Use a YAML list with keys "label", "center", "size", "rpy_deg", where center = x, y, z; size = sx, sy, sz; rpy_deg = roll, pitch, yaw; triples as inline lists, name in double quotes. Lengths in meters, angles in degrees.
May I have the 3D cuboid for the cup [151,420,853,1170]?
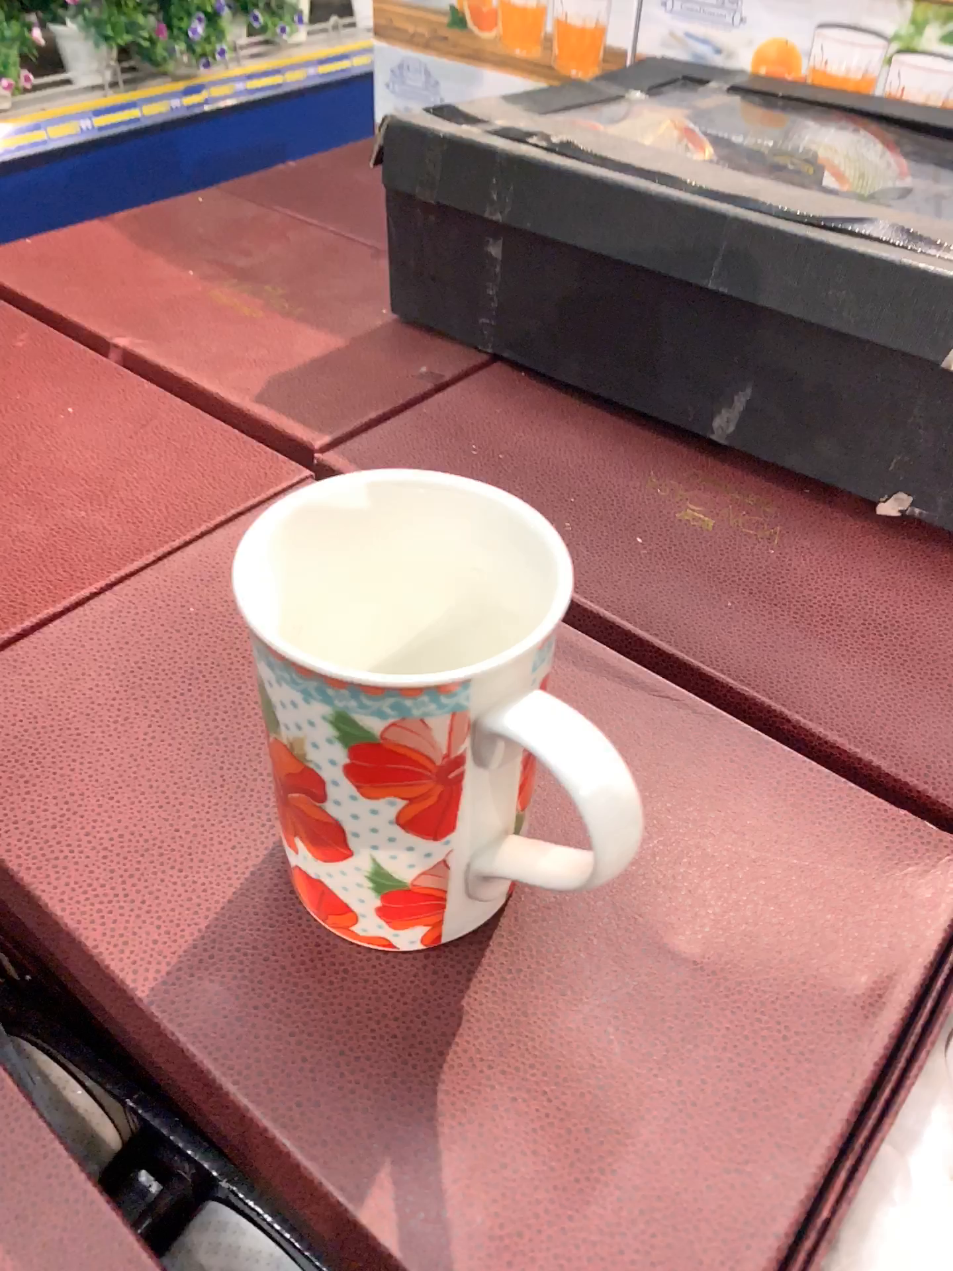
- label: "cup"
  center: [0.001, 0.033, 0.237]
  size: [0.120, 0.110, 0.080]
  rpy_deg: [32, 49, 28]
